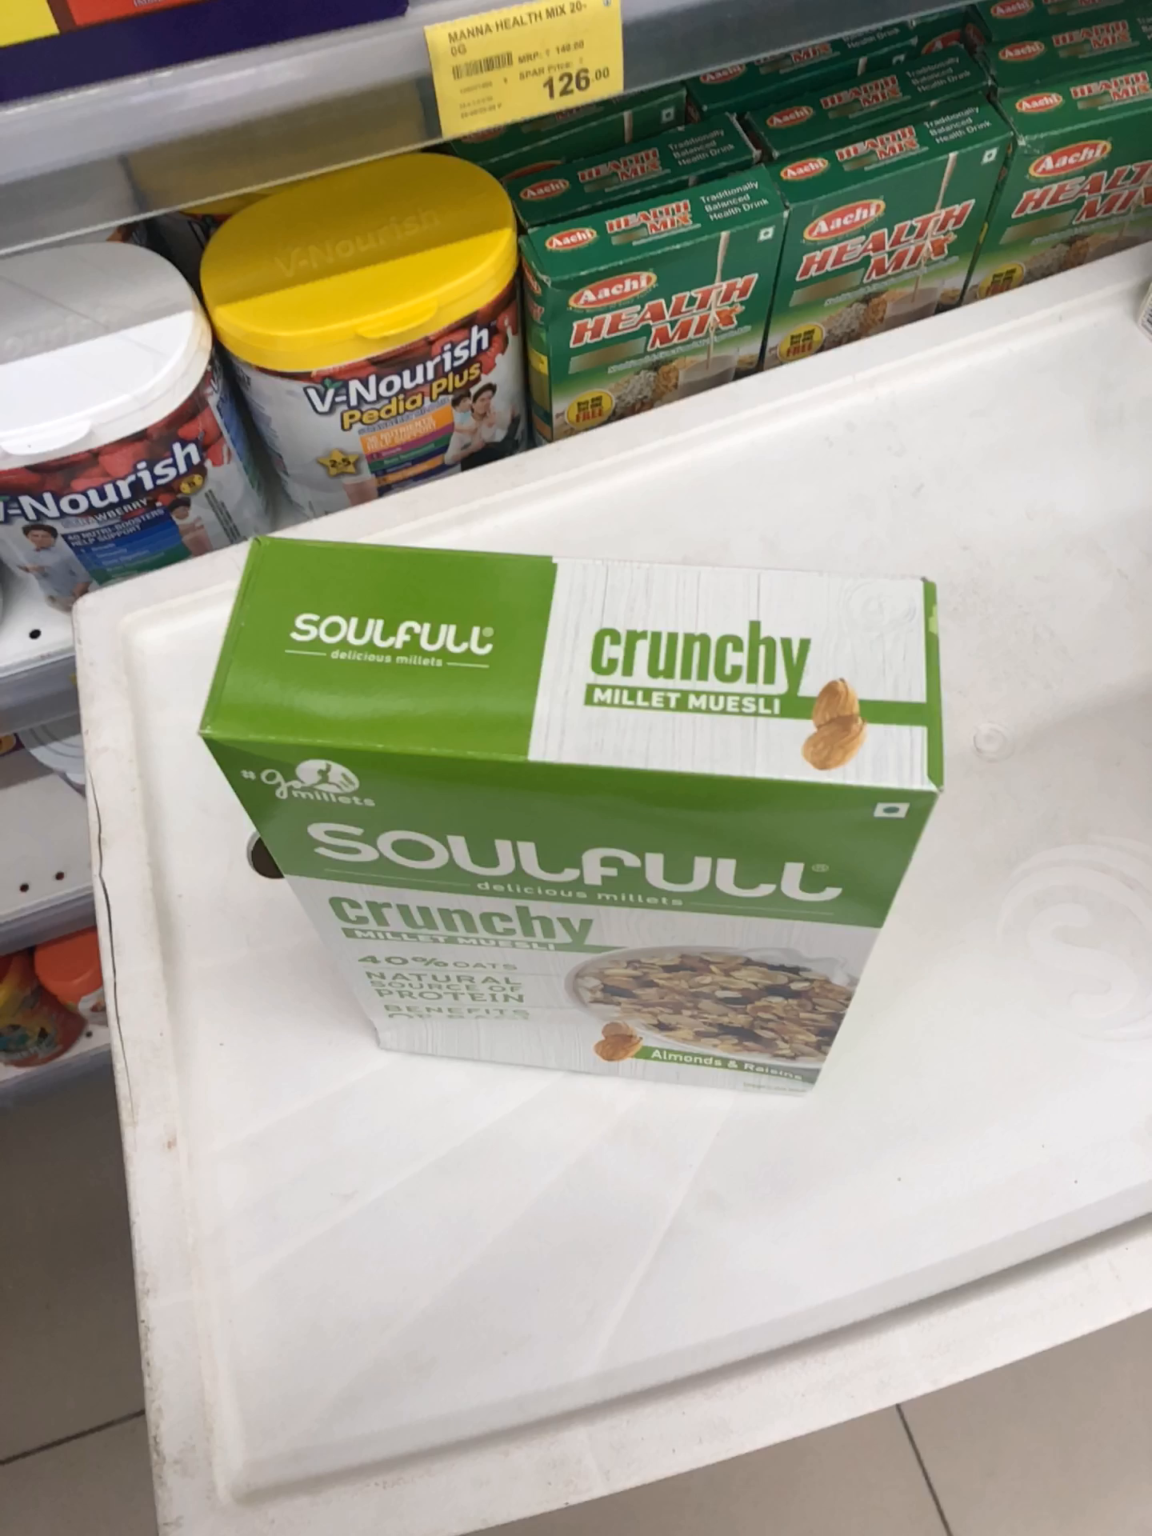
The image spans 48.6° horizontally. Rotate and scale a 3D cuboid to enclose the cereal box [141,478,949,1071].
[{"bbox_3d":[0.003,0.022,0.408,0.180,0.250,0.070,6,64,8],"label":"cereal box"}]
